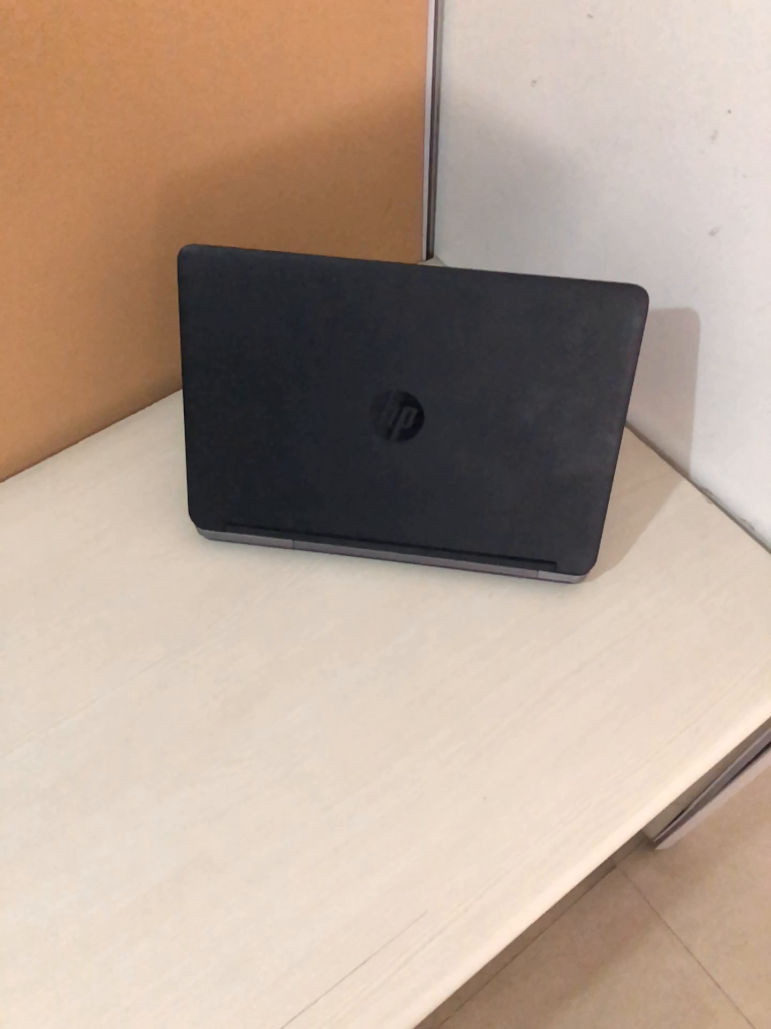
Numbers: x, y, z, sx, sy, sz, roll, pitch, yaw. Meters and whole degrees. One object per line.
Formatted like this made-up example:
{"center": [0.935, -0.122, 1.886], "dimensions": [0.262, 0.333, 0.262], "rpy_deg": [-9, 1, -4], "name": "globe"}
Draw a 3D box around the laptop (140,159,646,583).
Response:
{"center": [0.015, -0.113, 0.671], "dimensions": [0.318, 0.193, 0.228], "rpy_deg": [6, 56, 4], "name": "laptop"}
